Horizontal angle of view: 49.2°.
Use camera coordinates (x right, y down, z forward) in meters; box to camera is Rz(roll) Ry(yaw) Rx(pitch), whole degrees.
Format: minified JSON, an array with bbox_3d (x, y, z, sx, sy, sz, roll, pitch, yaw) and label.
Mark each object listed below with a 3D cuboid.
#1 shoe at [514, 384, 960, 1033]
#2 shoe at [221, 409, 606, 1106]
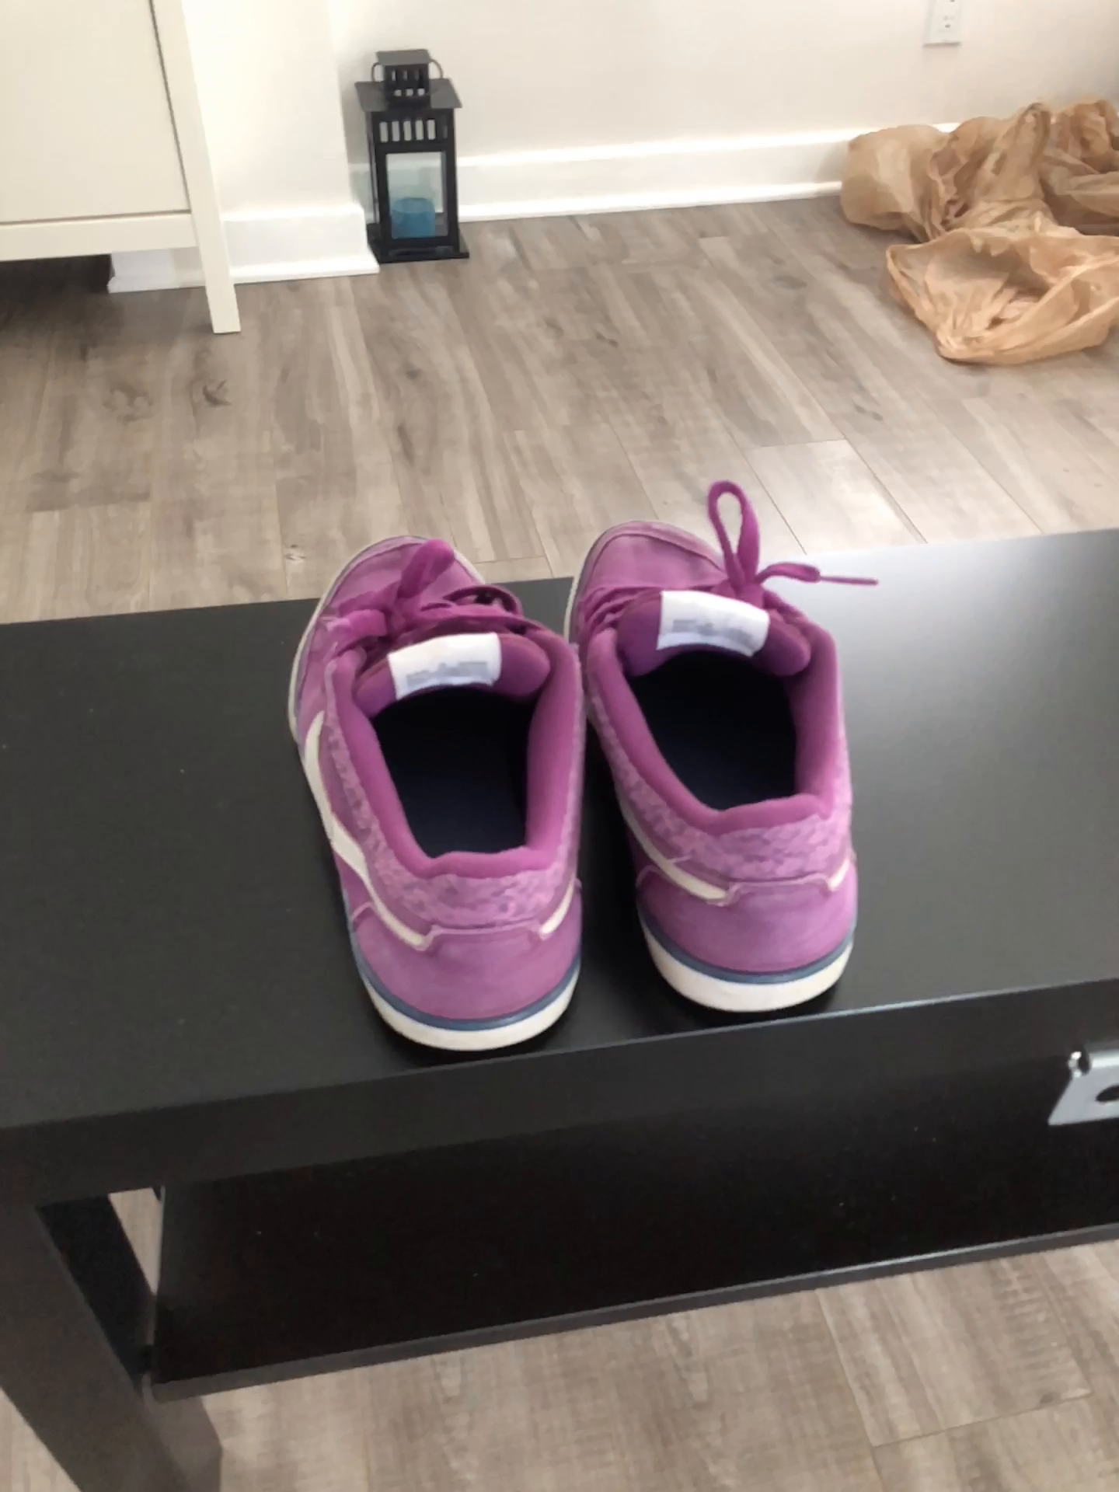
[{"bbox_3d":[0.045,-0.029,0.454,0.100,0.100,0.241,-4,44,-6],"label":"shoe"},{"bbox_3d":[-0.054,-0.013,0.443,0.100,0.100,0.251,-4,44,-6],"label":"shoe"}]
